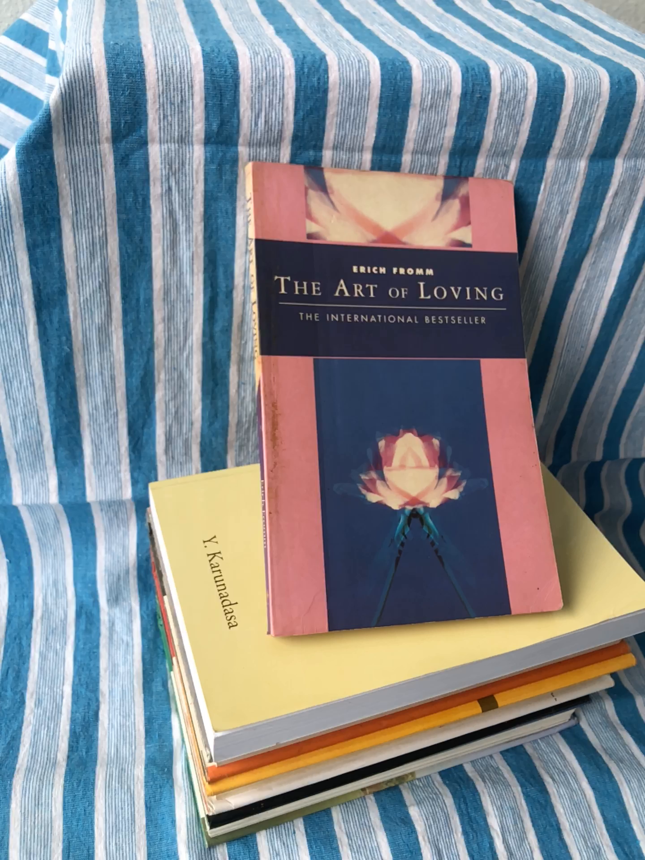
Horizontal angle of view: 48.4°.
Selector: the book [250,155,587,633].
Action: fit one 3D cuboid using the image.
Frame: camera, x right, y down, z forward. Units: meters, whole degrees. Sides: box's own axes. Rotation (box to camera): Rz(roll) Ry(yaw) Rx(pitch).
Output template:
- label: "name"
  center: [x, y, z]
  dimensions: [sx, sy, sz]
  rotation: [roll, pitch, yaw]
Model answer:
- label: "book"
  center: [0.039, -0.020, 0.305]
  dimensions: [0.129, 0.015, 0.193]
  rotation: [-2, 82, -12]
